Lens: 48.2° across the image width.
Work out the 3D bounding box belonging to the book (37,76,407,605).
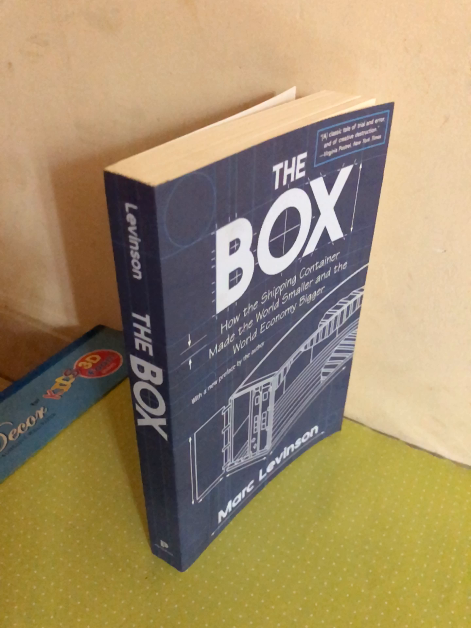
[{"bbox_3d":[0.008,0.008,0.278,0.050,0.219,0.181,24,40,30],"label":"book"}]
